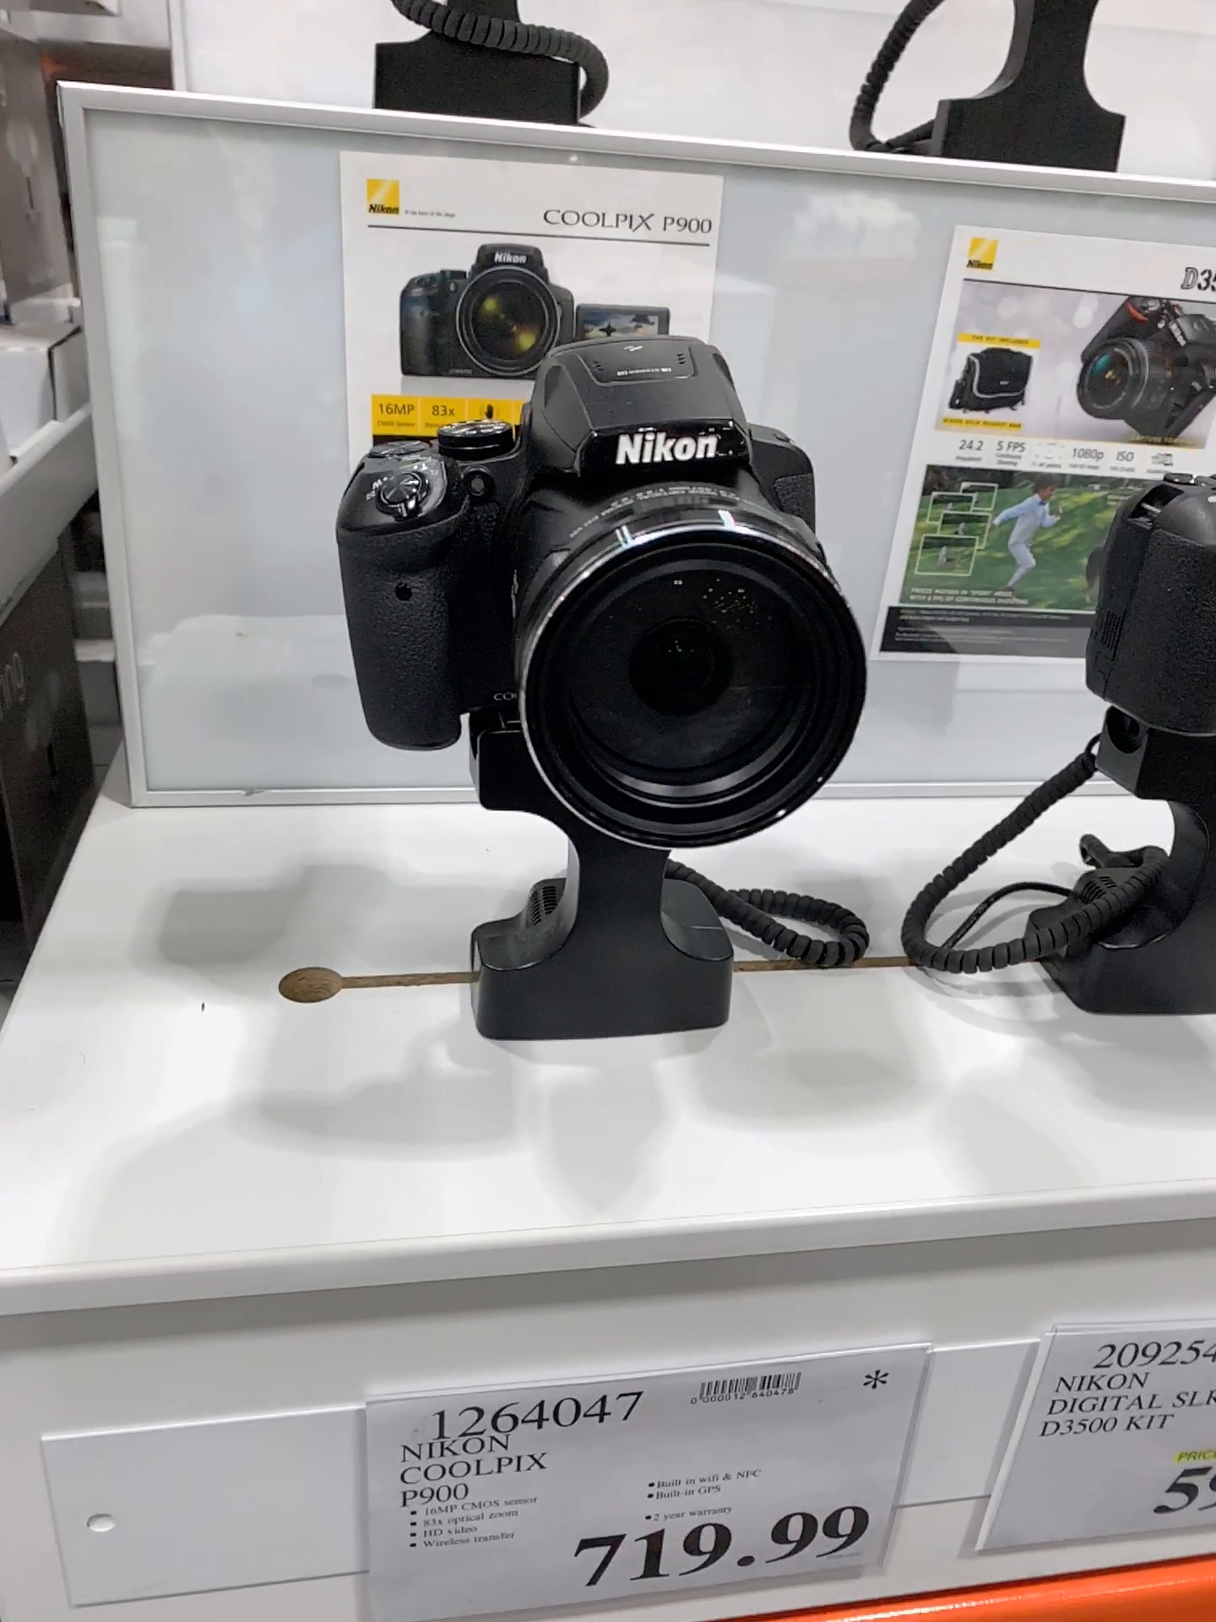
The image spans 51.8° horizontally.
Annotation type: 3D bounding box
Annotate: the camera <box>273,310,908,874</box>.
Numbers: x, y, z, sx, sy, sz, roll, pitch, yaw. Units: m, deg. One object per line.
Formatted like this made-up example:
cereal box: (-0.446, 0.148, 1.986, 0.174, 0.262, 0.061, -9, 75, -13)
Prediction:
camera: (-0.010, -0.072, 0.346, 0.130, 0.109, 0.151, -3, 27, -6)
